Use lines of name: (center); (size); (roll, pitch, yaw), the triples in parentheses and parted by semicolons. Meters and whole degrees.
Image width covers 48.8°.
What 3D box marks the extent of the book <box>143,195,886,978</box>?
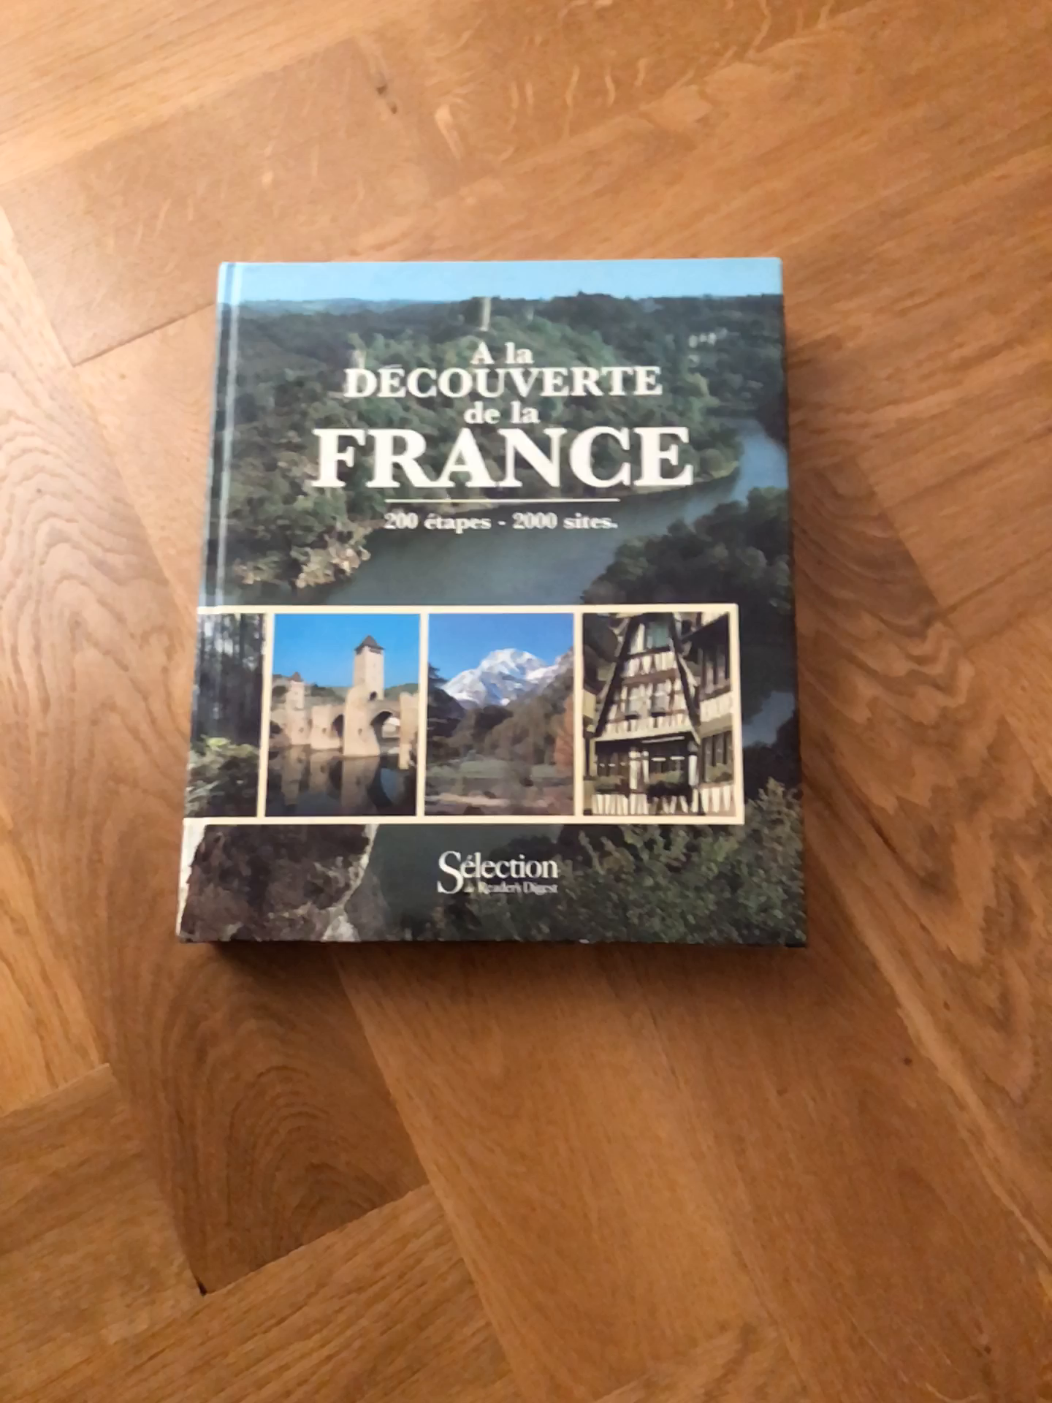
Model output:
book: (-0.002, -0.048, 0.437); (0.250, 0.040, 0.290); (1, 79, 2)
